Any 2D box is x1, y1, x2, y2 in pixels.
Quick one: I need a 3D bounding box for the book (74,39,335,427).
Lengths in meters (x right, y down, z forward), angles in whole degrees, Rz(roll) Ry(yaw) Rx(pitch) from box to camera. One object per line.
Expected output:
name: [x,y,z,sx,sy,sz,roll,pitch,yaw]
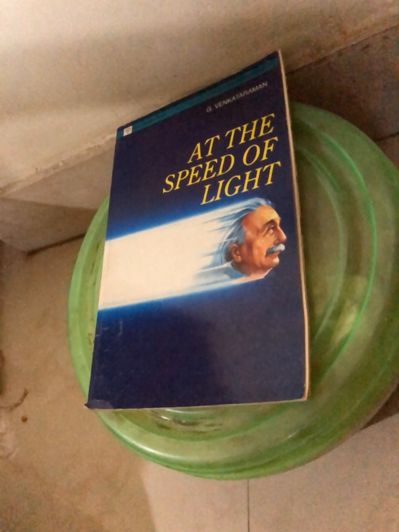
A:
book: [-0.005,-0.023,0.284,0.150,0.020,0.230,-15,61,29]
